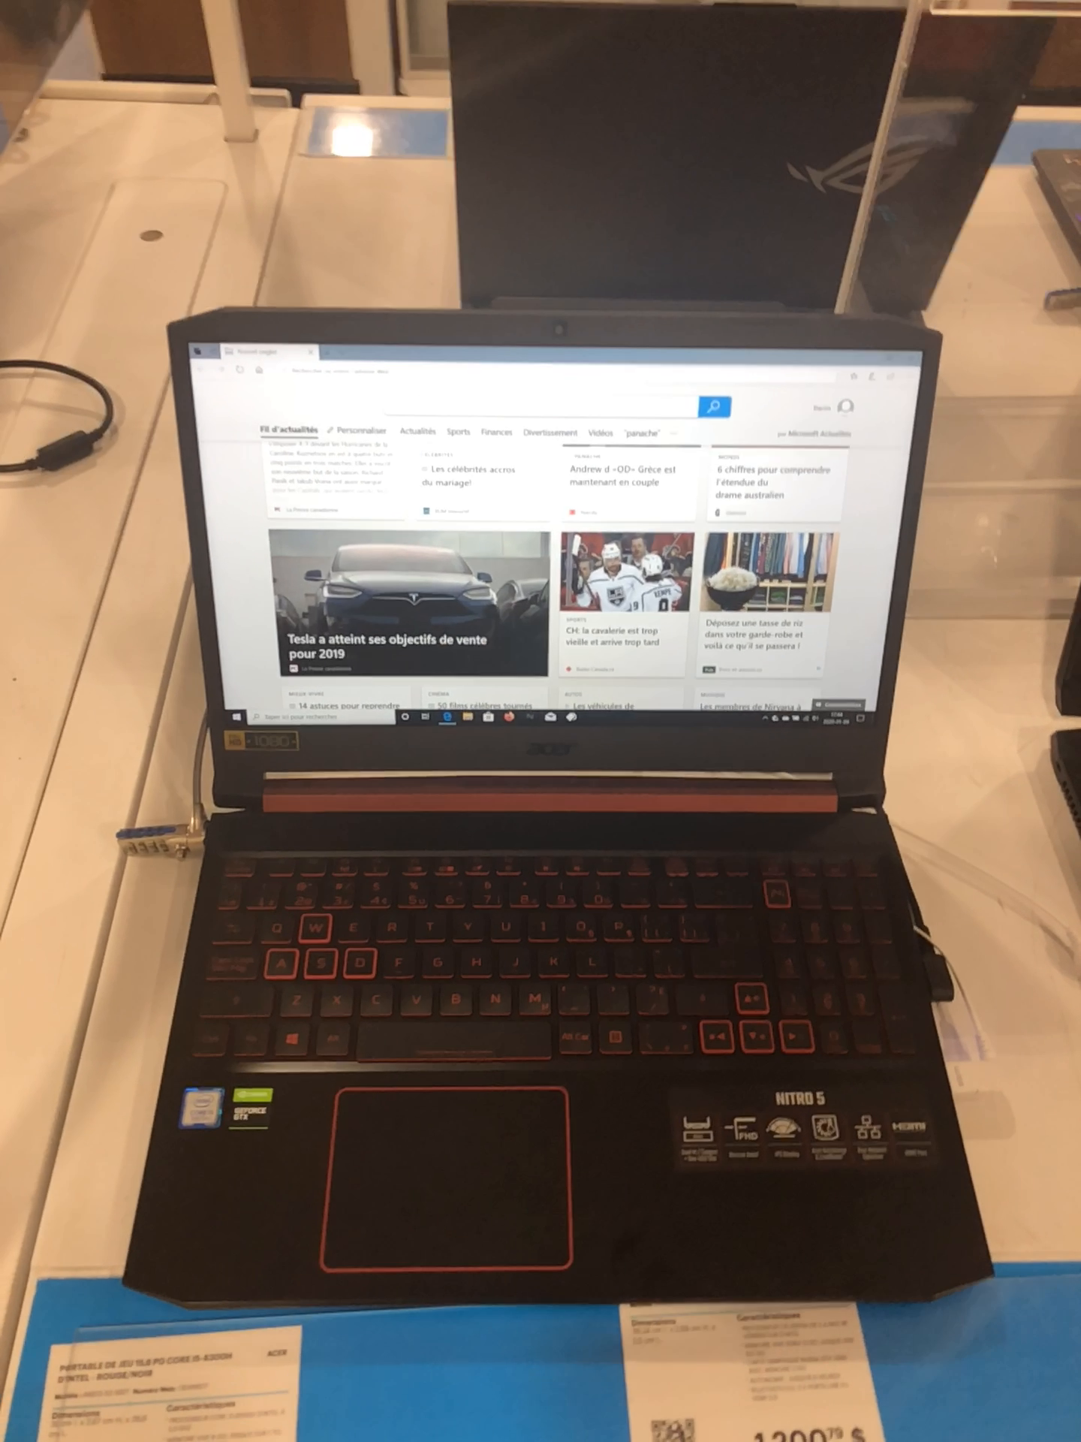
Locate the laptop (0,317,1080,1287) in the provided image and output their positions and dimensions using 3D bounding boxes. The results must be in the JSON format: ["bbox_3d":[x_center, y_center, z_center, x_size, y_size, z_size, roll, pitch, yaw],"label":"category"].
[{"bbox_3d":[0.010,0.023,0.518,0.357,0.211,0.360,0,52,-2],"label":"laptop"}]
